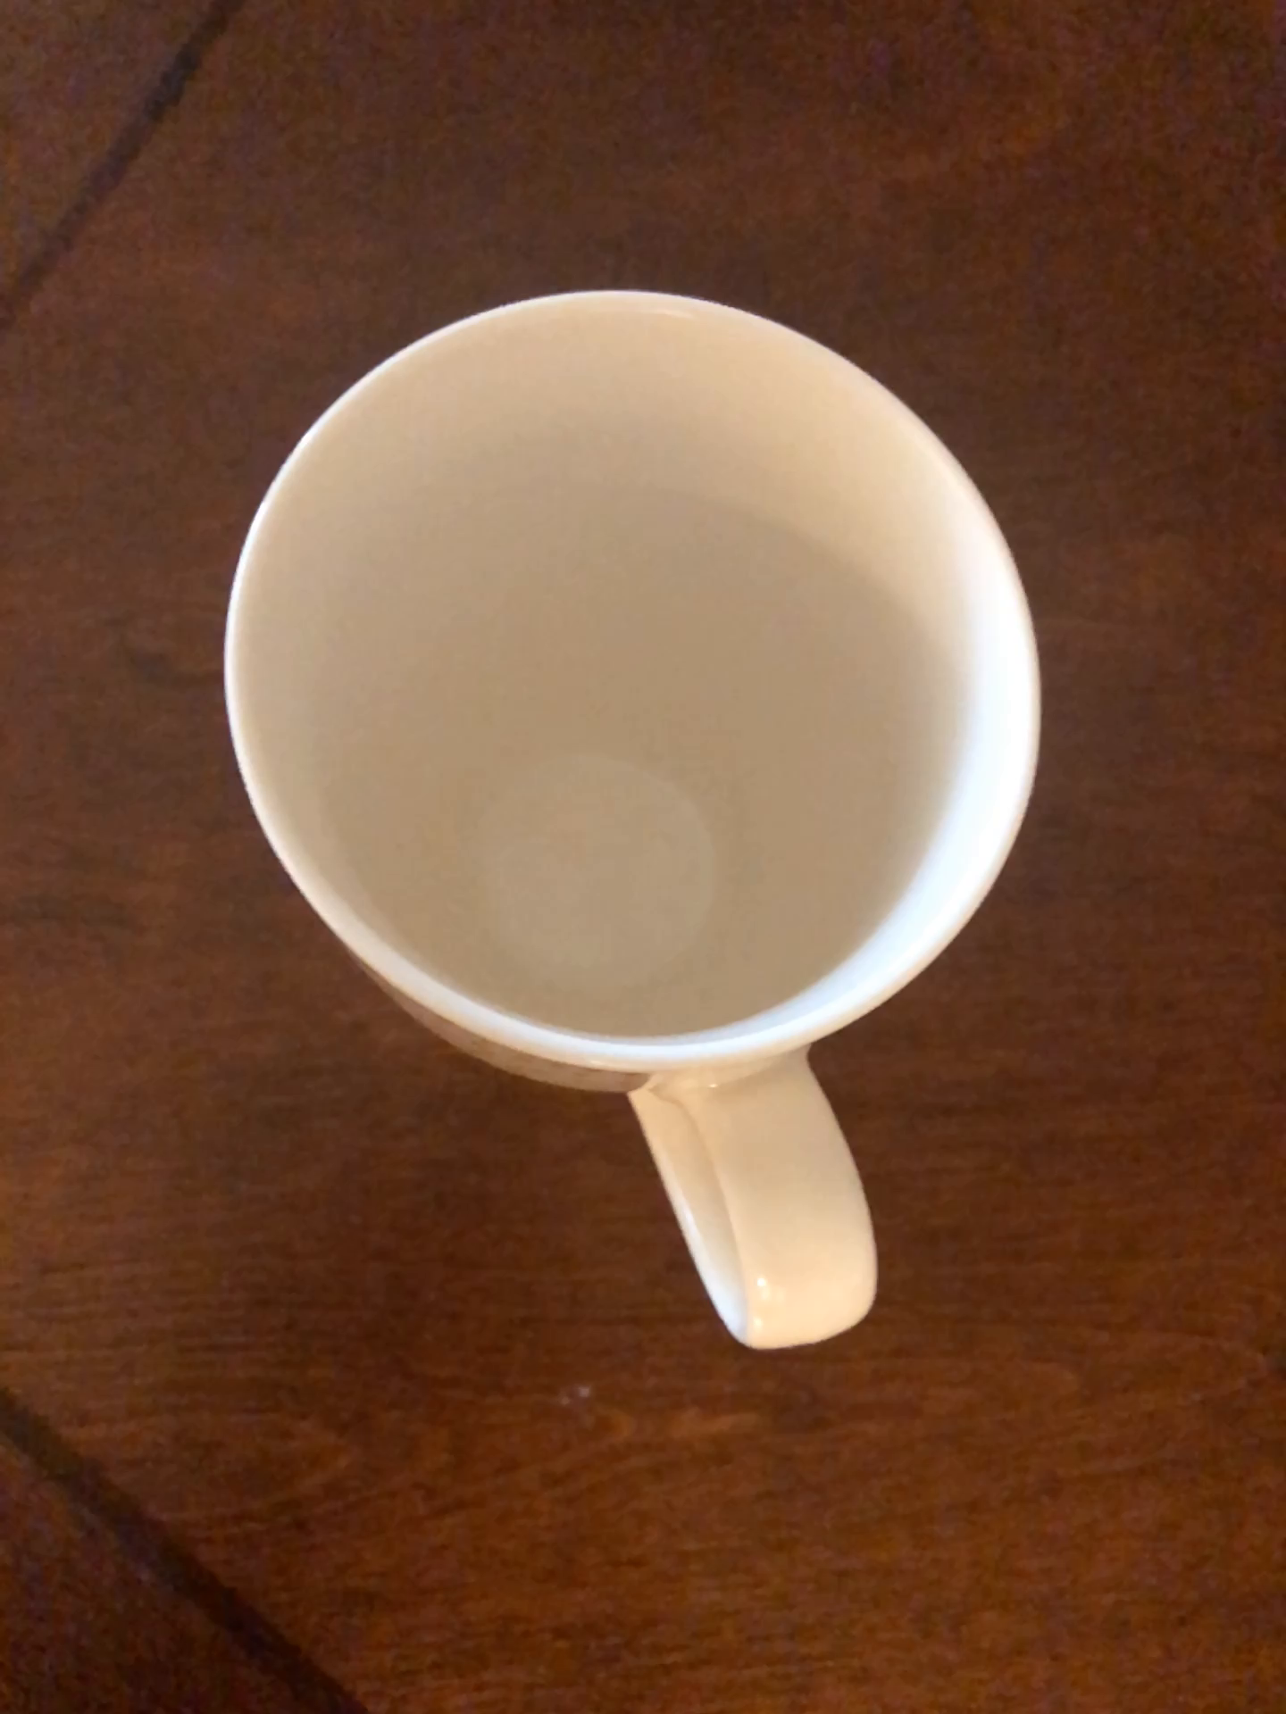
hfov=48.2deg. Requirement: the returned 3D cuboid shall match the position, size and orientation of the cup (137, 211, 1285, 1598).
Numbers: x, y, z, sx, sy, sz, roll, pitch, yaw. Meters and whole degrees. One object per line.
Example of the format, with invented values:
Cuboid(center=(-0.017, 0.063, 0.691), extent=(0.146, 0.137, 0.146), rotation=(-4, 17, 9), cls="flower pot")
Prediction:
Cuboid(center=(0.002, 0.007, 0.211), extent=(0.100, 0.100, 0.140), rotation=(-14, 78, -7), cls="cup")
